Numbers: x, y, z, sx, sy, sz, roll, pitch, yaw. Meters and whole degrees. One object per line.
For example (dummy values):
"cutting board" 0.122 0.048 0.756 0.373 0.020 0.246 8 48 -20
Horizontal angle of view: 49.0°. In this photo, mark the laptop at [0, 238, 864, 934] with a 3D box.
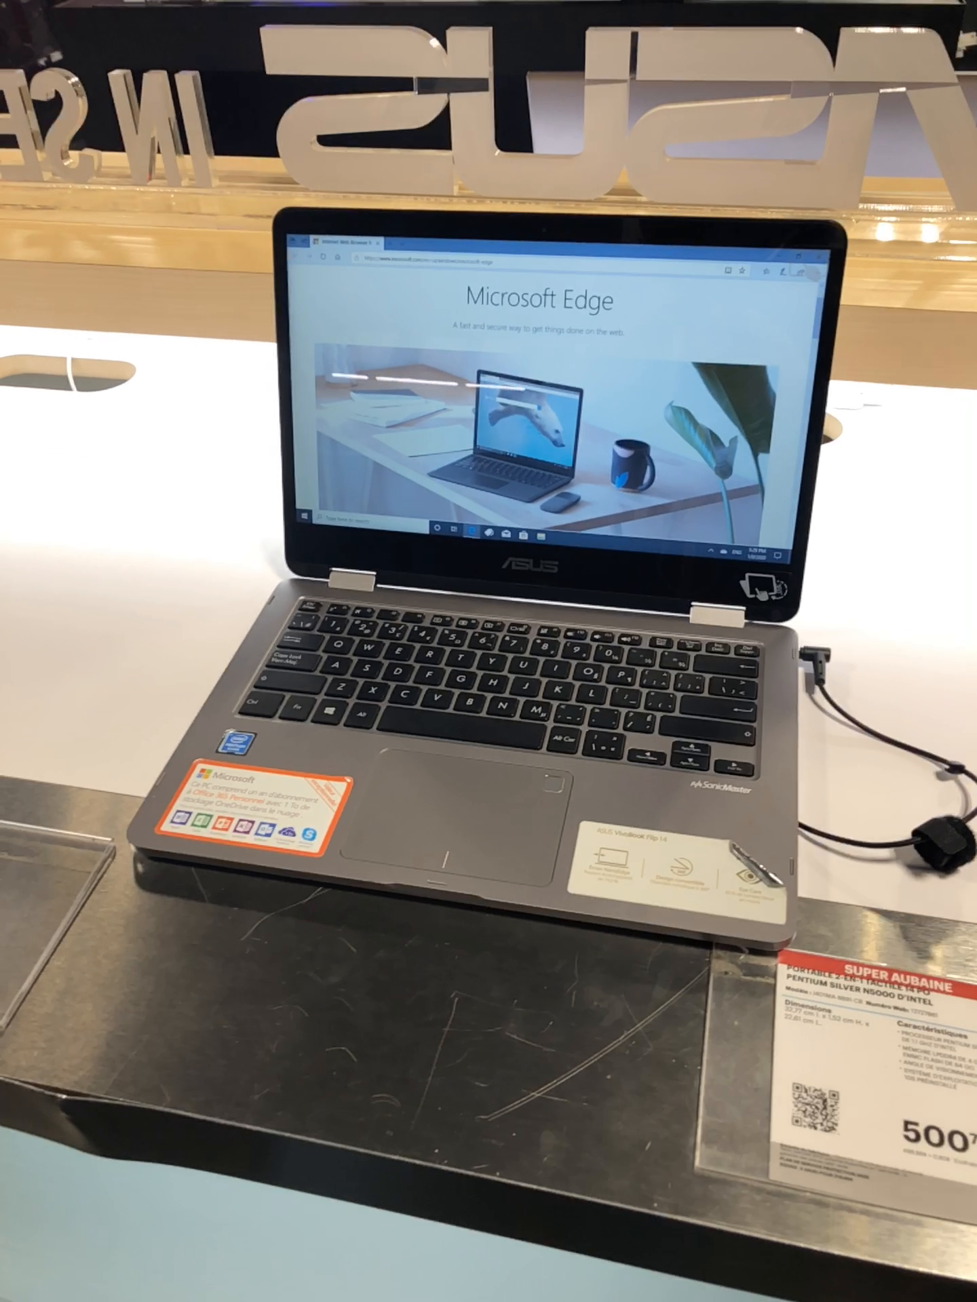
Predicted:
"laptop" 0.000 -0.058 0.529 0.304 0.212 0.279 6 37 13
